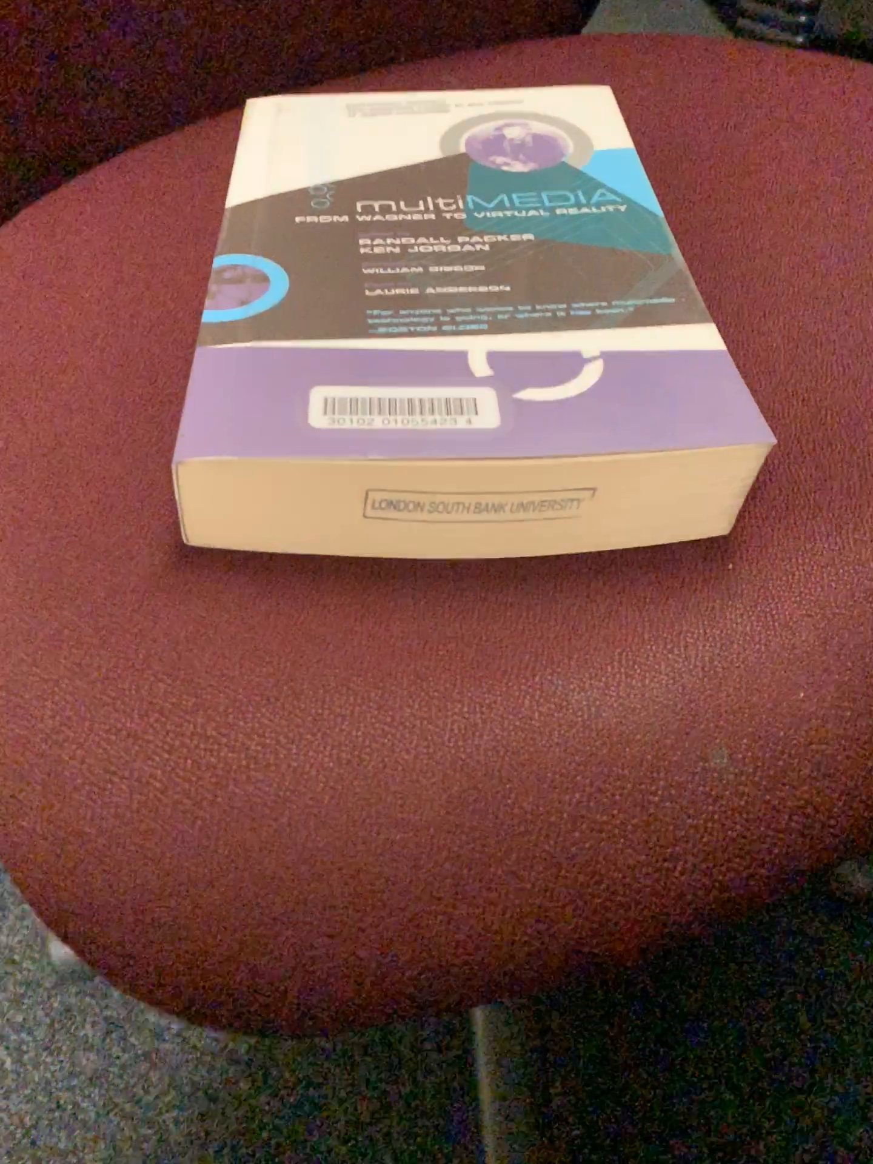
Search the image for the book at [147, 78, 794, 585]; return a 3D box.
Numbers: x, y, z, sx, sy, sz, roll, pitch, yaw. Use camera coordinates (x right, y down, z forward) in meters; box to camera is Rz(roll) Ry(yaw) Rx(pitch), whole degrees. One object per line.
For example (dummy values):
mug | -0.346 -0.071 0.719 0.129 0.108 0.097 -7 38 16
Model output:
book | 0.001 -0.109 0.320 0.160 0.040 0.250 -3 48 -2
